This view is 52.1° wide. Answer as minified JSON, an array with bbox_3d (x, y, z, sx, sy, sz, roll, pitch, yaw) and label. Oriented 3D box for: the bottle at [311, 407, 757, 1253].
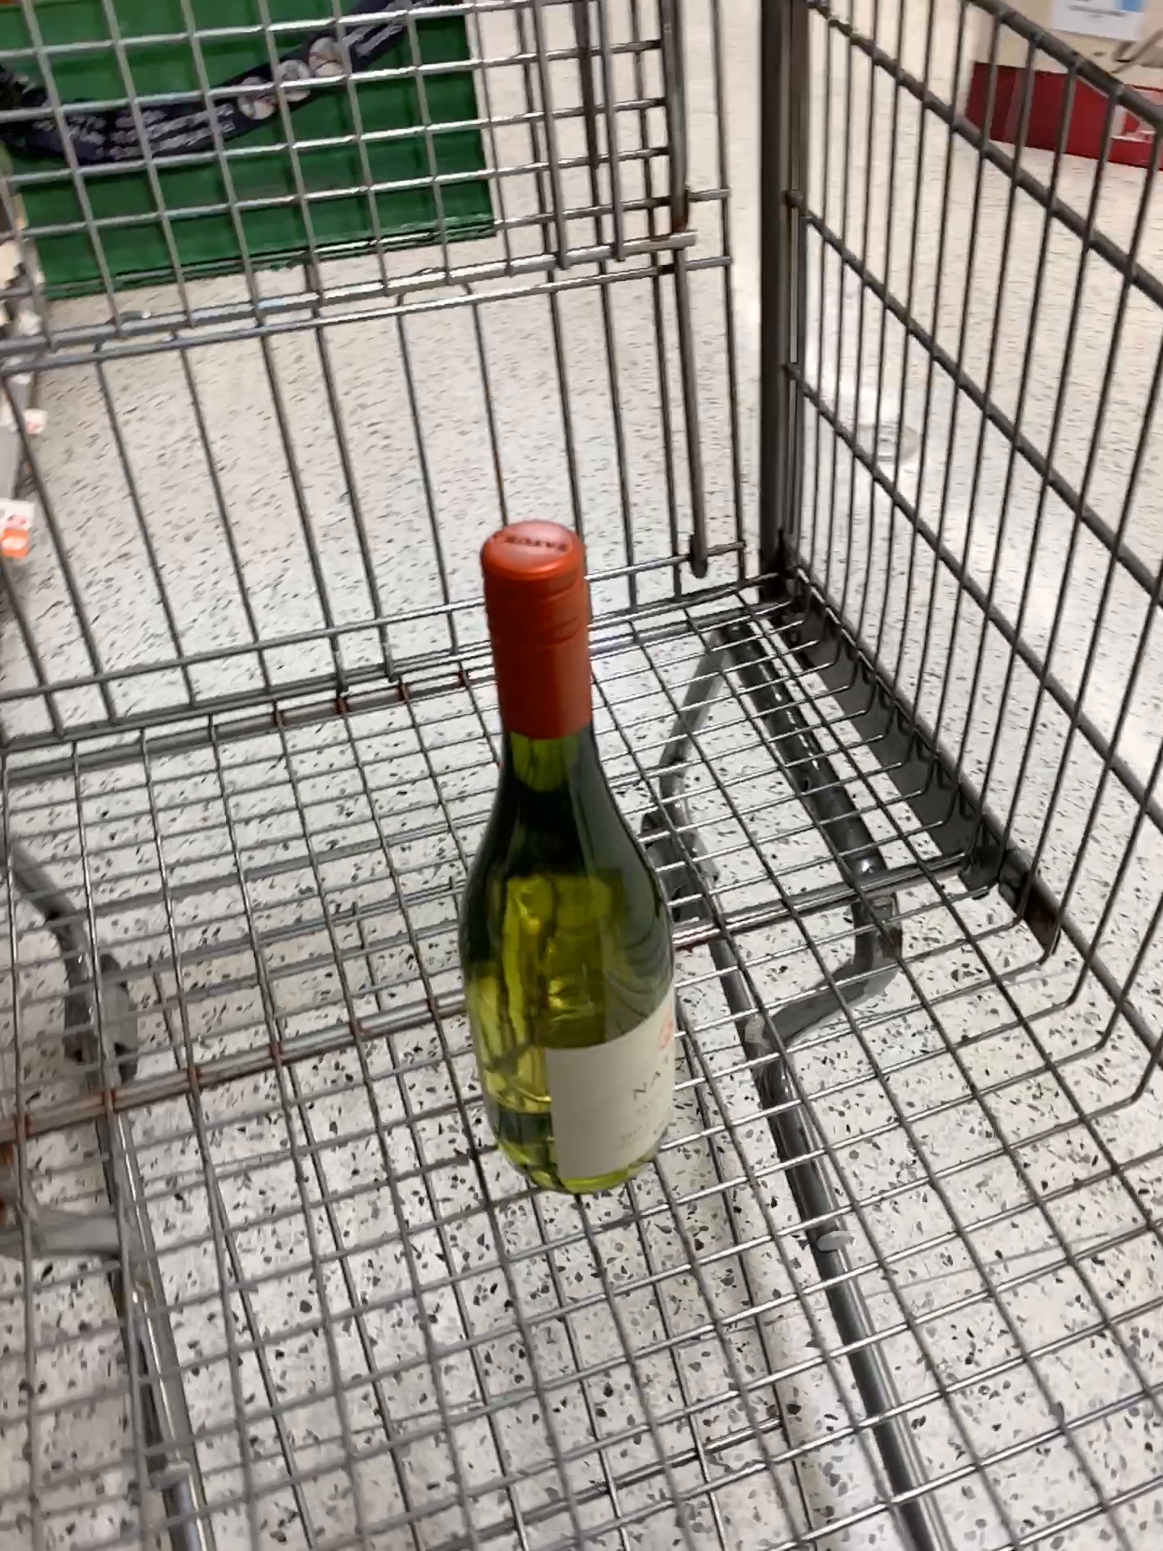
[{"bbox_3d":[-0.007,0.041,0.403,0.080,0.297,0.091,18,48,18],"label":"bottle"}]
